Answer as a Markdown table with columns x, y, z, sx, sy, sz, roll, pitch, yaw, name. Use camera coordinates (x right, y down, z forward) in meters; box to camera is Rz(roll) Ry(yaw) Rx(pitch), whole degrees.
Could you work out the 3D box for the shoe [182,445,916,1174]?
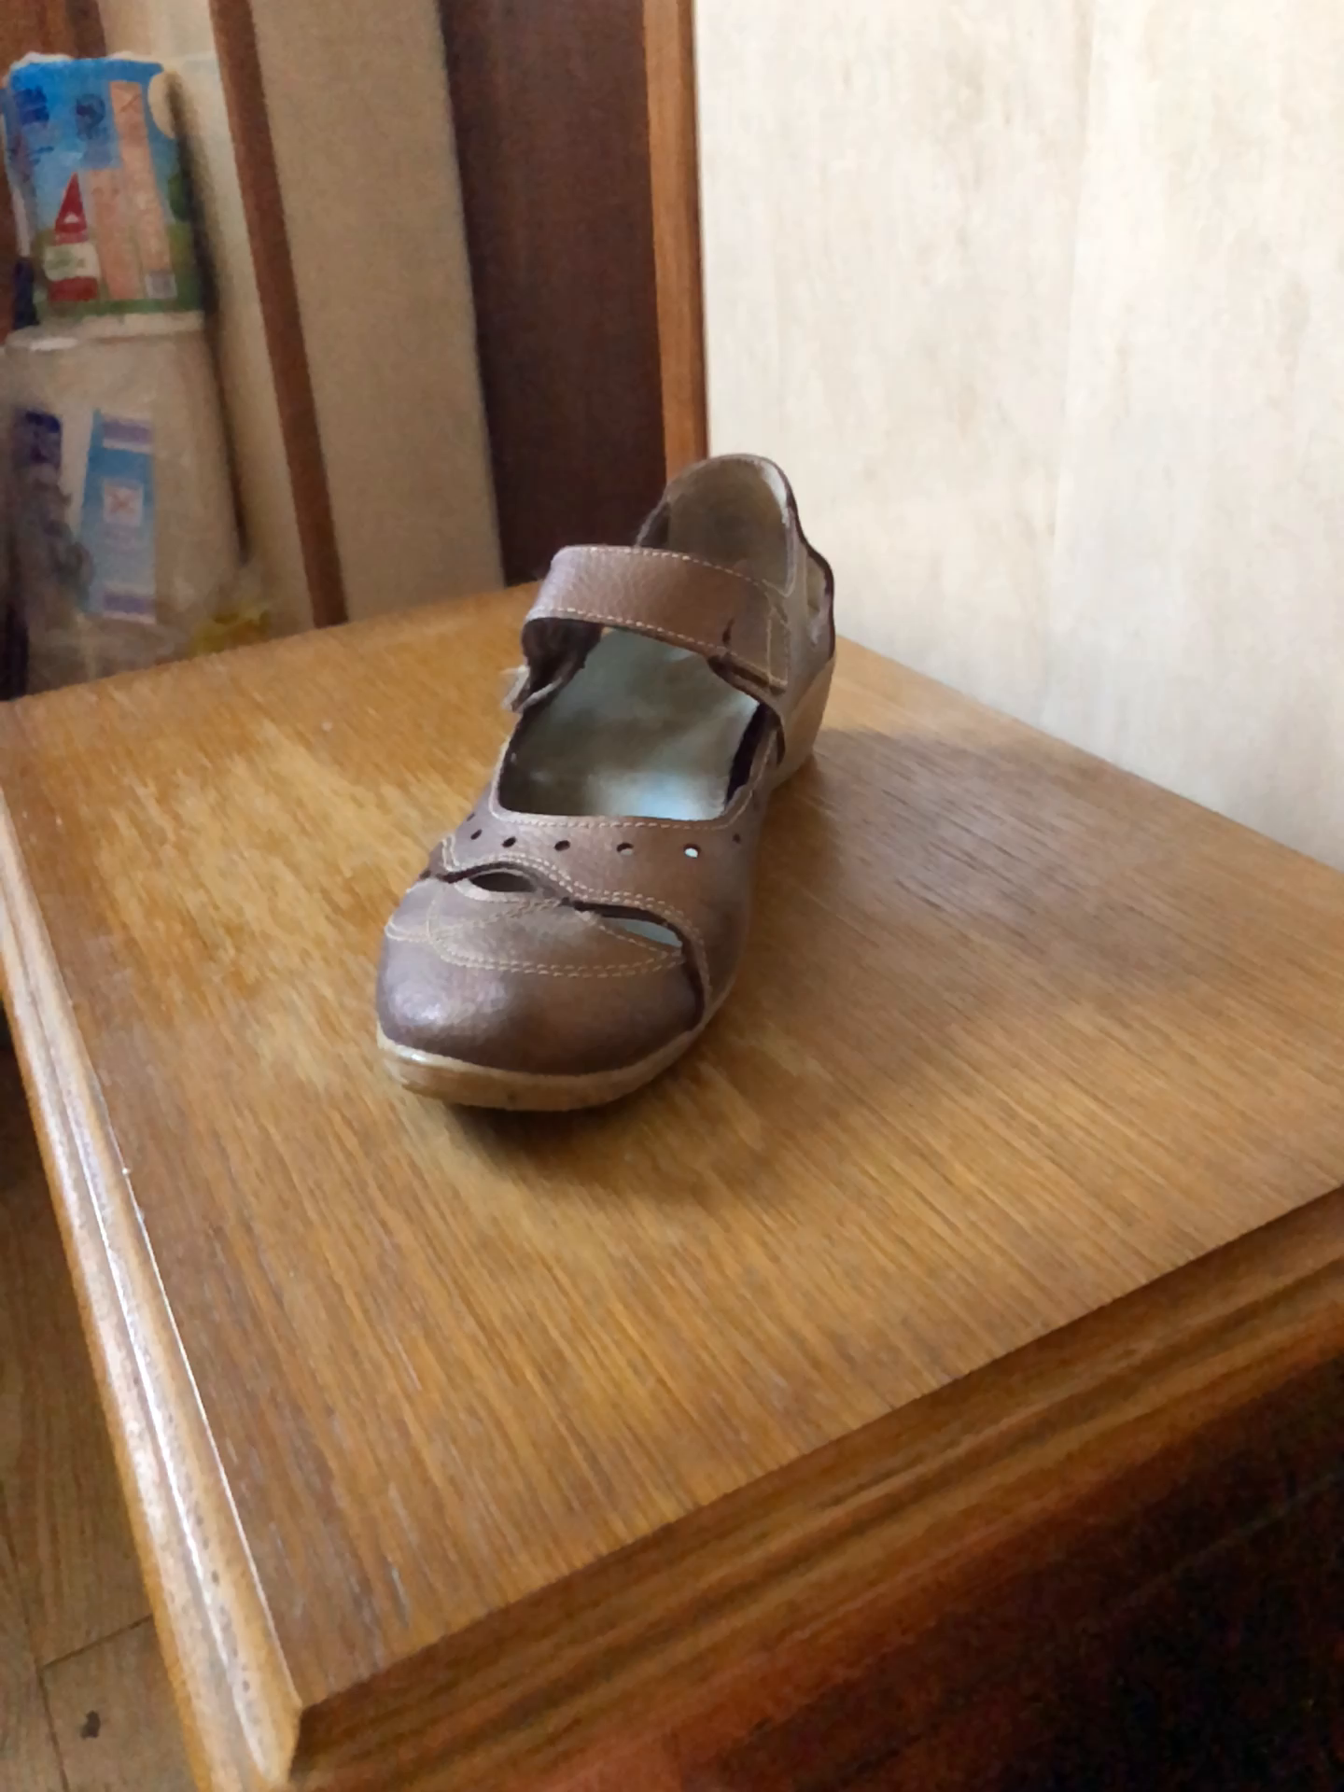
| x | y | z | sx | sy | sz | roll | pitch | yaw | name |
| --- | --- | --- | --- | --- | --- | --- | --- | --- | --- |
| -0.007 | -0.049 | 0.412 | 0.100 | 0.089 | 0.262 | 7 | 31 | 18 | shoe |
